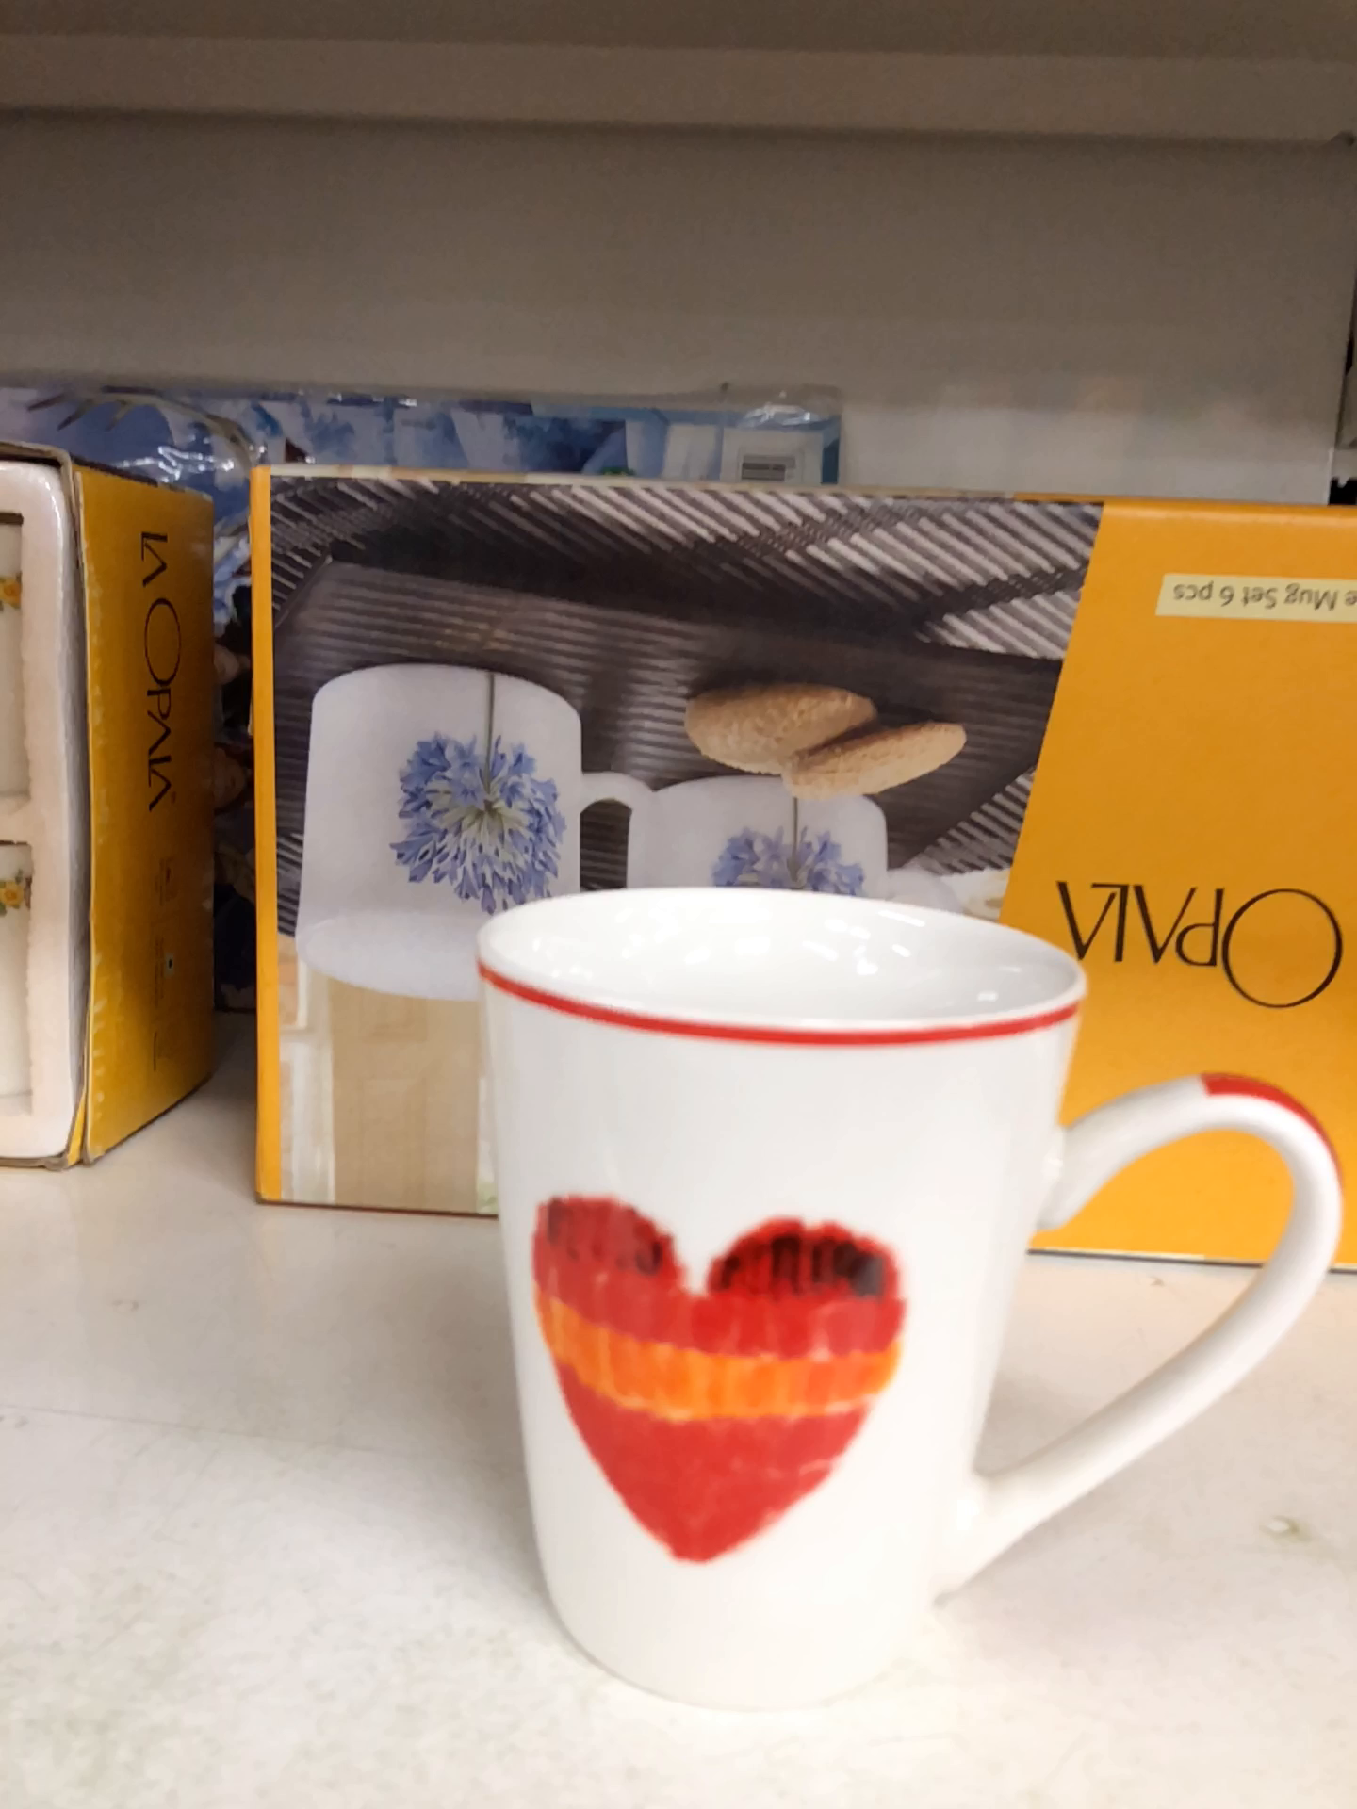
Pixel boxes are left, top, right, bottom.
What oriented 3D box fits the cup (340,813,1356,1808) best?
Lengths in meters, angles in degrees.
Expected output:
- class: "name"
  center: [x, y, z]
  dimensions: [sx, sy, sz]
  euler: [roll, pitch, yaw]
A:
- class: "cup"
  center: [0.027, 0.046, 0.204]
  dimensions: [0.120, 0.100, 0.080]
  euler: [4, 11, 7]
